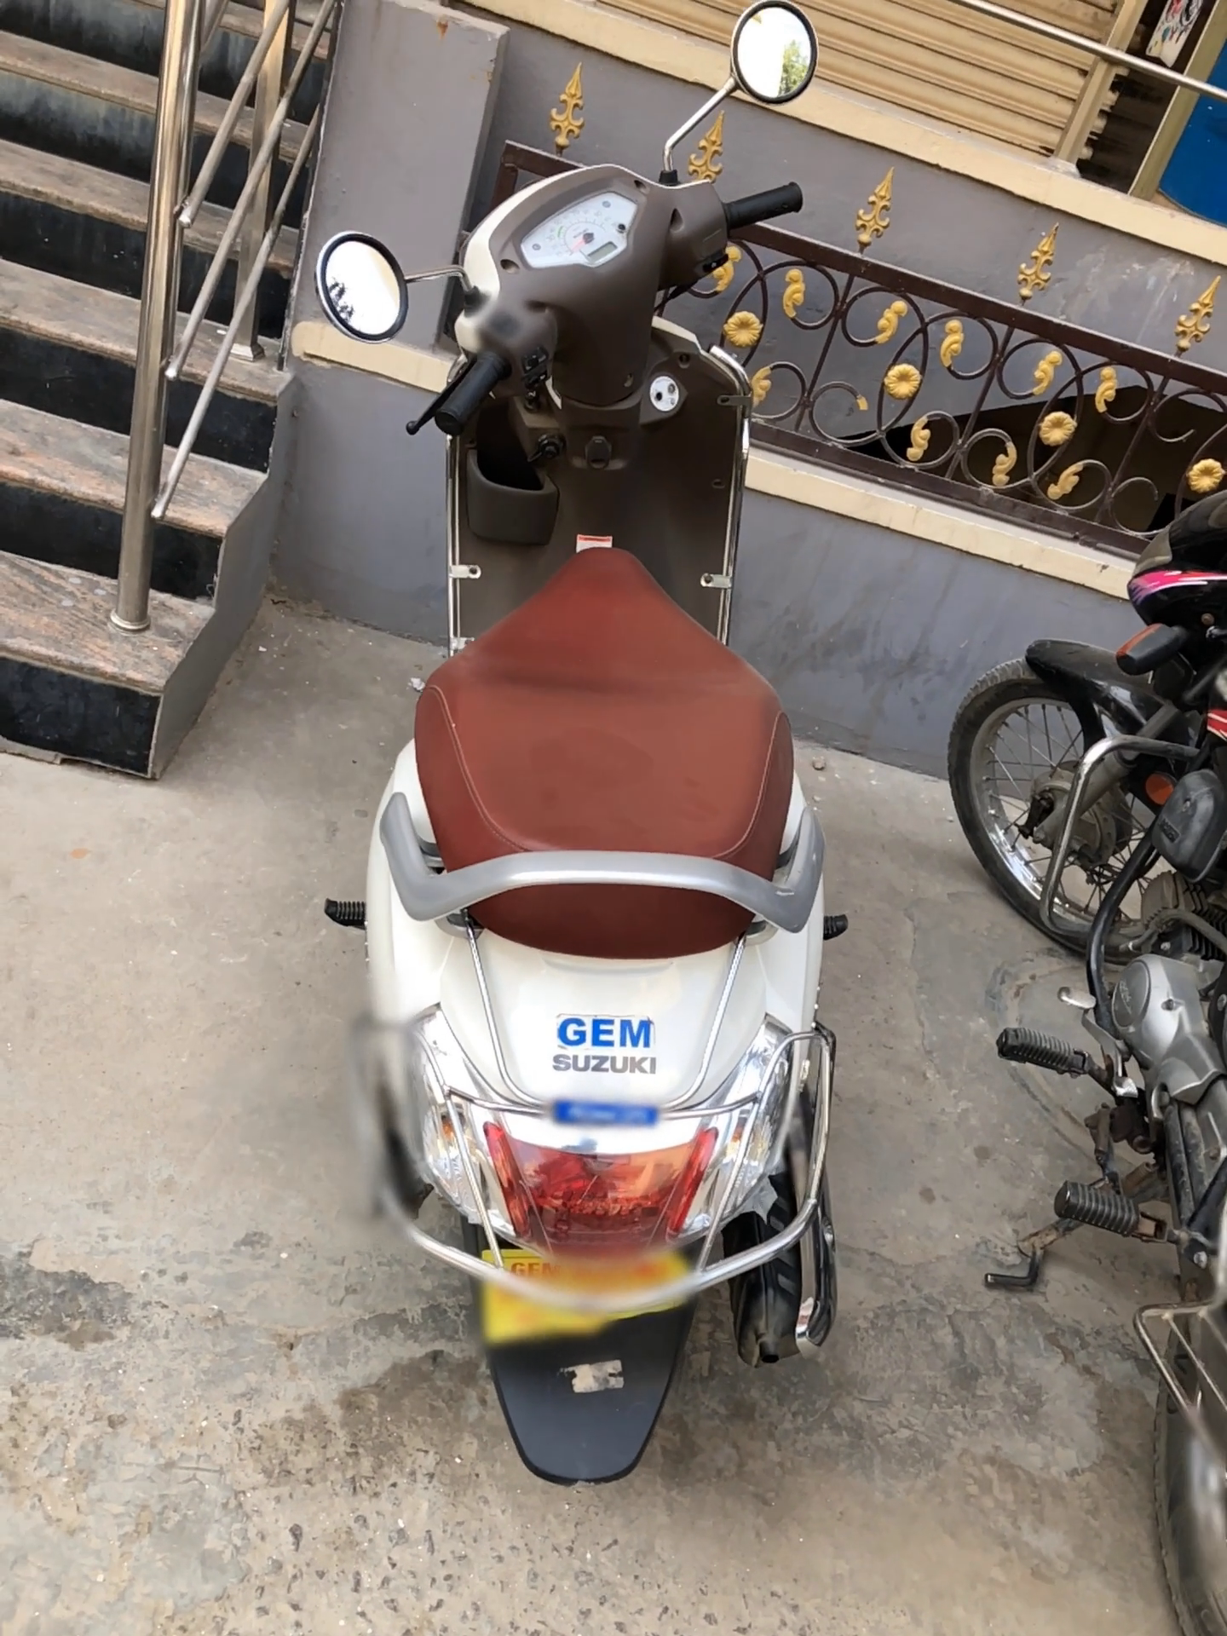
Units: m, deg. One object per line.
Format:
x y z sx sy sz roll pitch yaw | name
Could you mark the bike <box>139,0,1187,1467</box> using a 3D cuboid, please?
-0.114 -0.257 1.758 0.597 1.194 1.494 10 35 -14 | bike
